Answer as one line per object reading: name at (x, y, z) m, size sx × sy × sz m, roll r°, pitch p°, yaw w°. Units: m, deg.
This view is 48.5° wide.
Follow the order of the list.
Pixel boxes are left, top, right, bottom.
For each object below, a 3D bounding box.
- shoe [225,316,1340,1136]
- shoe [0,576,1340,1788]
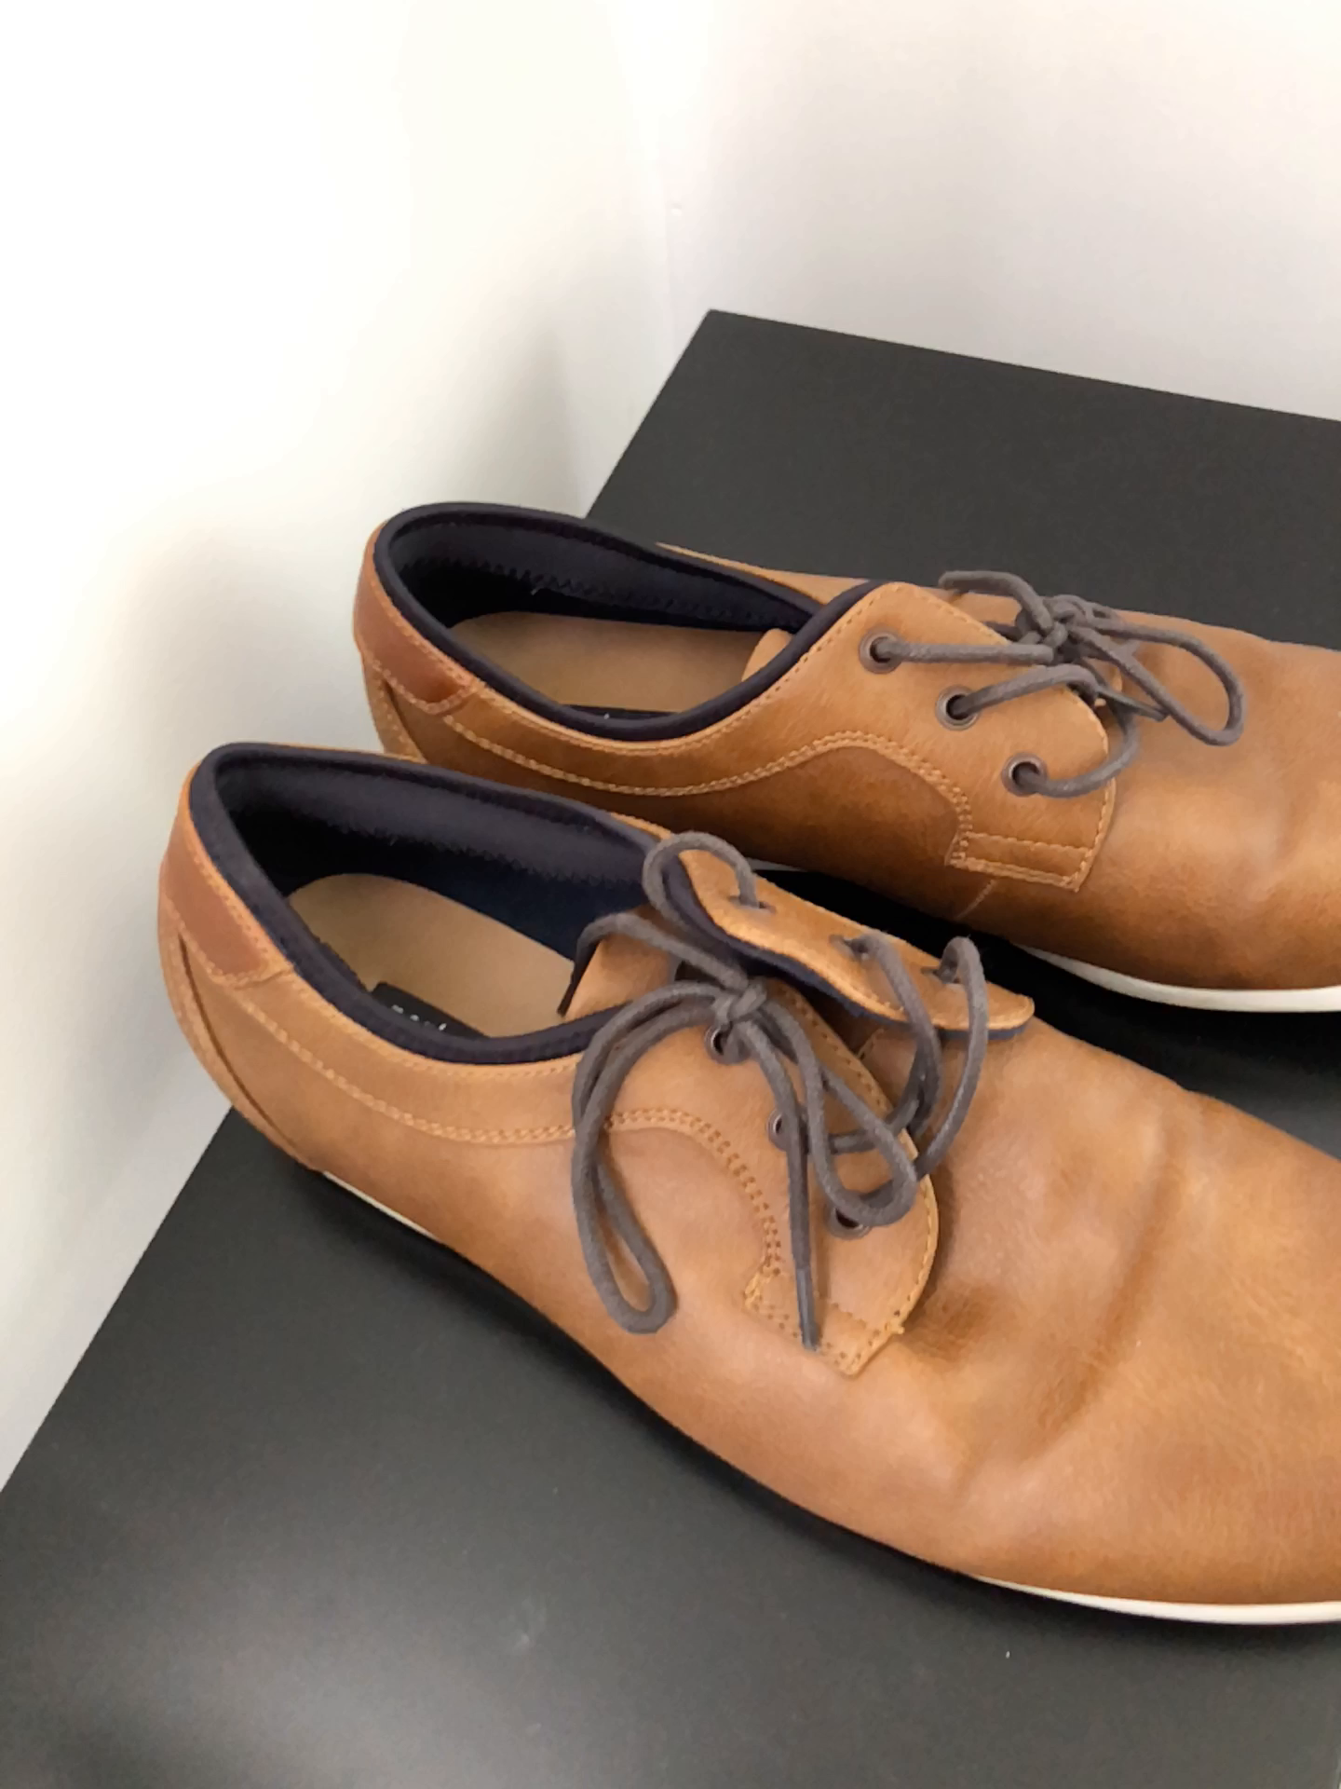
shoe at (0.062, -0.043, 0.339) m, size 0.280 × 0.100 × 0.104 m, roll 11°, pitch 58°, yaw 12°
shoe at (0.028, 0.050, 0.270) m, size 0.270 × 0.100 × 0.104 m, roll 21°, pitch 61°, yaw 19°
